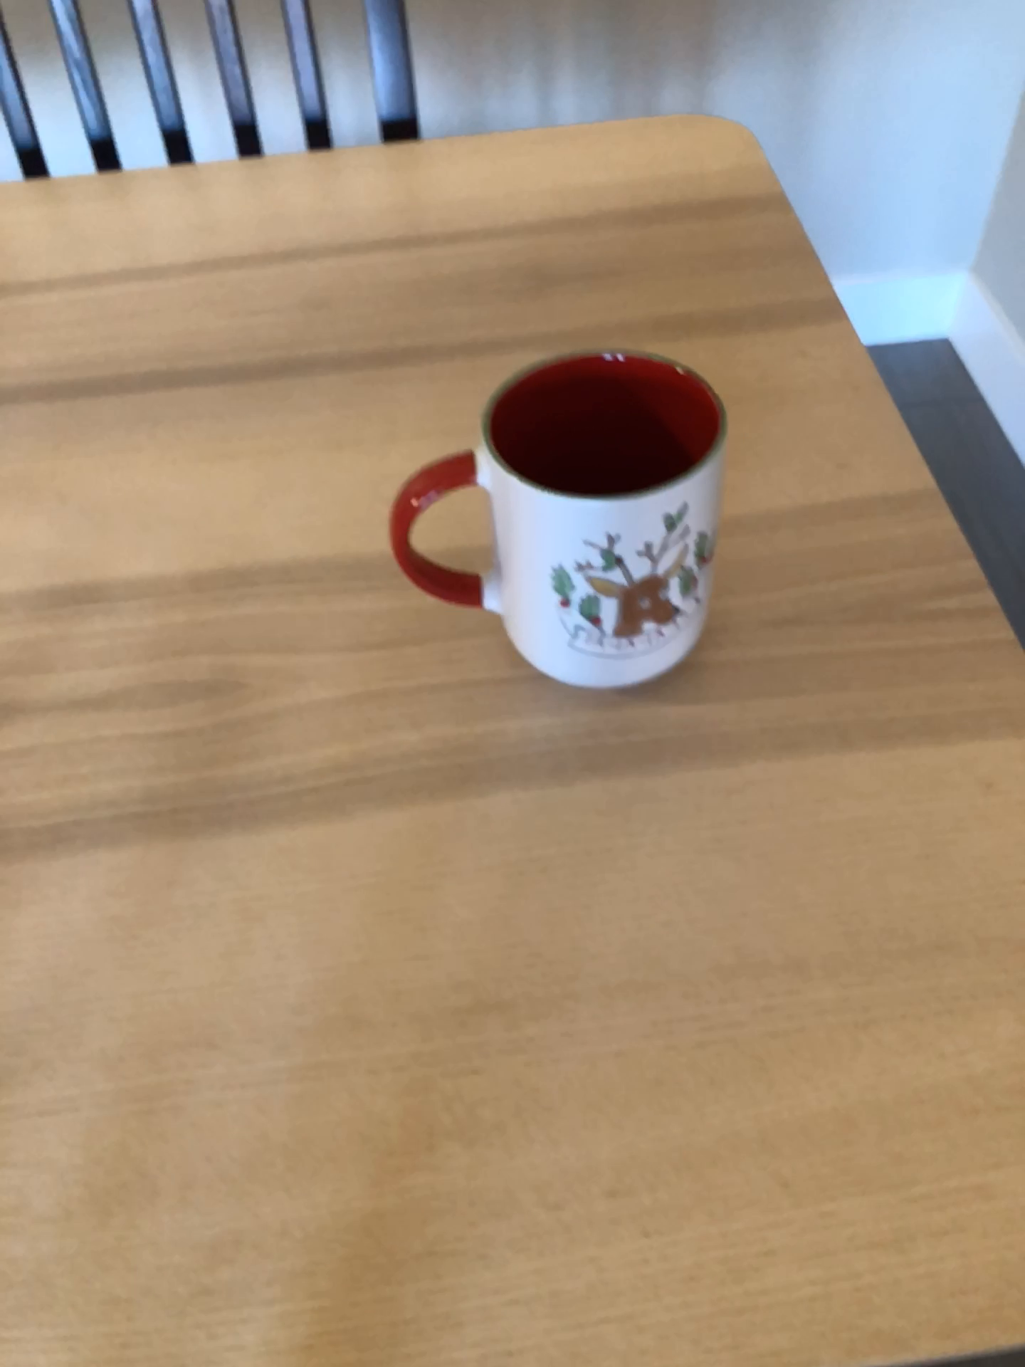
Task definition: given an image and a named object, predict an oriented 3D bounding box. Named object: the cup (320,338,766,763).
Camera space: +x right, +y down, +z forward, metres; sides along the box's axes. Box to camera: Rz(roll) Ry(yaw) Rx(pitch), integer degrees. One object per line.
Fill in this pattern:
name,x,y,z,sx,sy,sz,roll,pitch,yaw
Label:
cup,0.009,-0.052,0.447,0.140,0.100,0.100,-11,48,-6
